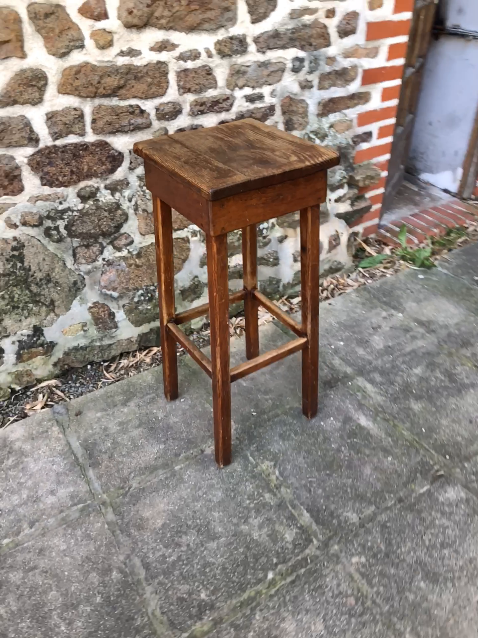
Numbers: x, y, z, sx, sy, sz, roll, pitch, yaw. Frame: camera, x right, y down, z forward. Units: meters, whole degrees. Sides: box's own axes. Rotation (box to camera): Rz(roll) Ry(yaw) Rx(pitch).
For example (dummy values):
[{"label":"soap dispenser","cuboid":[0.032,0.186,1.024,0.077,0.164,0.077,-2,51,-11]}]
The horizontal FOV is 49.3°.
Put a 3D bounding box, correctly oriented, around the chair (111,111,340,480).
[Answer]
[{"label":"chair","cuboid":[-0.028,-0.044,1.311,0.351,0.795,0.331,-22,41,-26]}]
